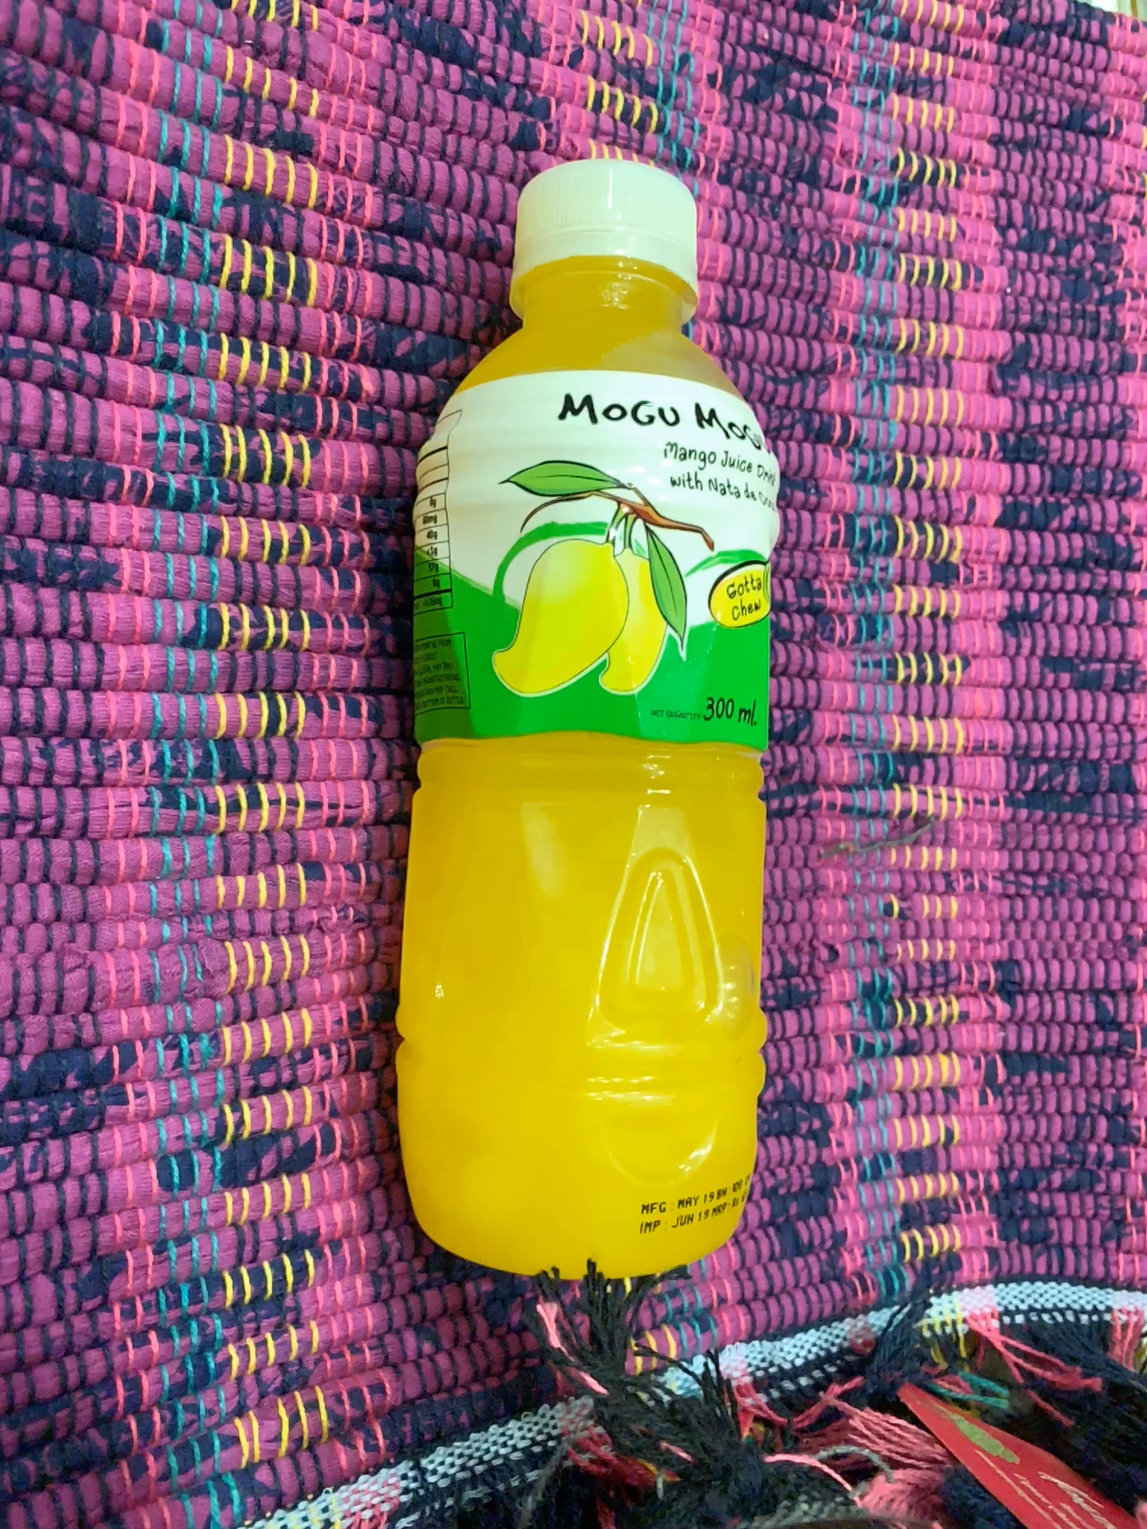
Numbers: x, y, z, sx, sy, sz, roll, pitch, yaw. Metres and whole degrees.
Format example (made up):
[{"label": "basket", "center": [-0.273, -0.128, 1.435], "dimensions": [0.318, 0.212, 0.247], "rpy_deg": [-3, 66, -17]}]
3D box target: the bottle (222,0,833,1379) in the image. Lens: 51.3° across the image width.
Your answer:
[{"label": "bottle", "center": [-0.007, -0.016, 0.166], "dimensions": [0.060, 0.060, 0.160], "rpy_deg": [2, 87, -37]}]
